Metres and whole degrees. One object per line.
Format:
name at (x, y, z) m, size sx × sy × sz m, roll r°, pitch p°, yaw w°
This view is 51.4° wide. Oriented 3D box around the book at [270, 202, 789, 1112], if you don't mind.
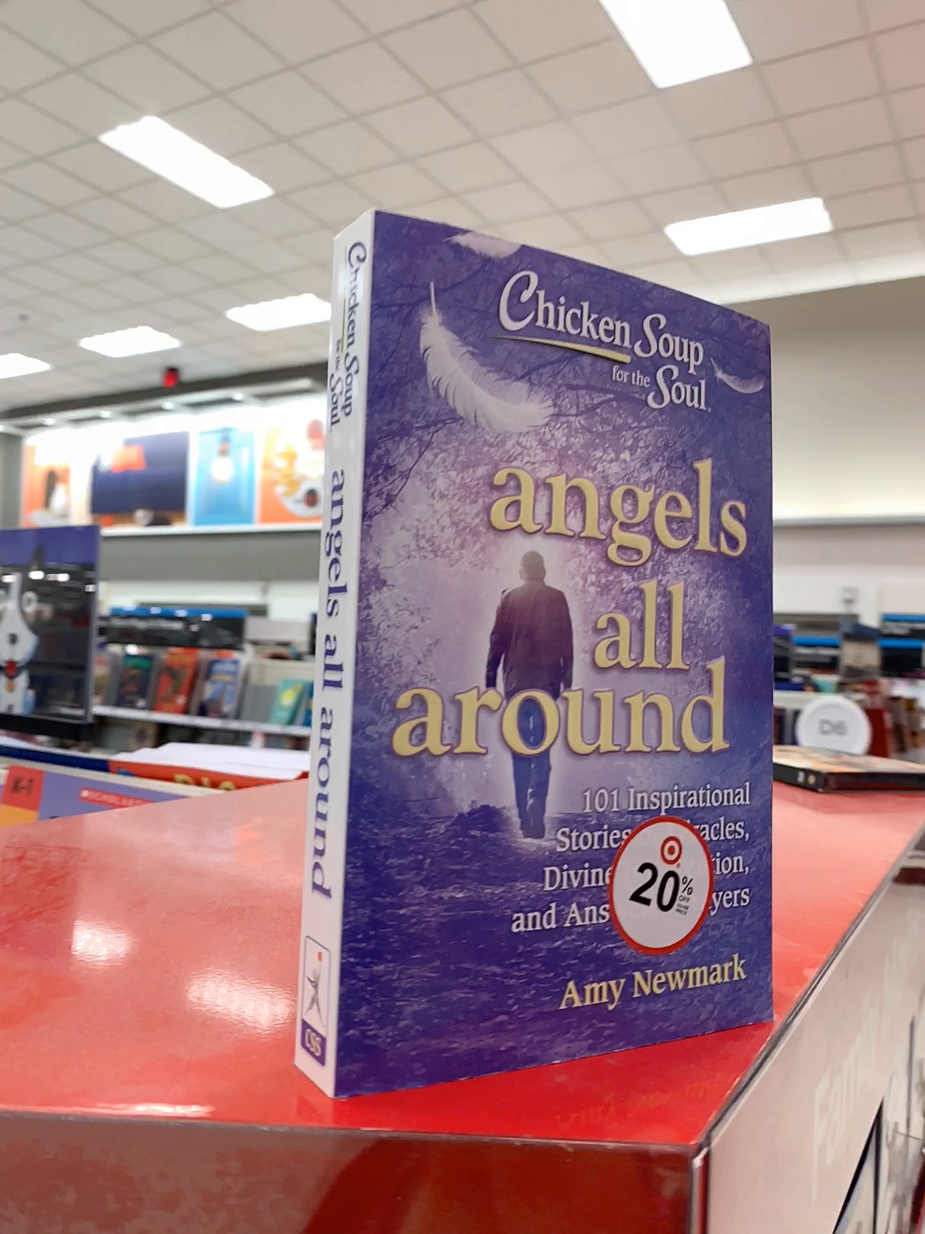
book at (0.024, 0.009, 0.273) m, size 0.142 × 0.211 × 0.041 m, roll 3°, pitch -5°, yaw -27°
